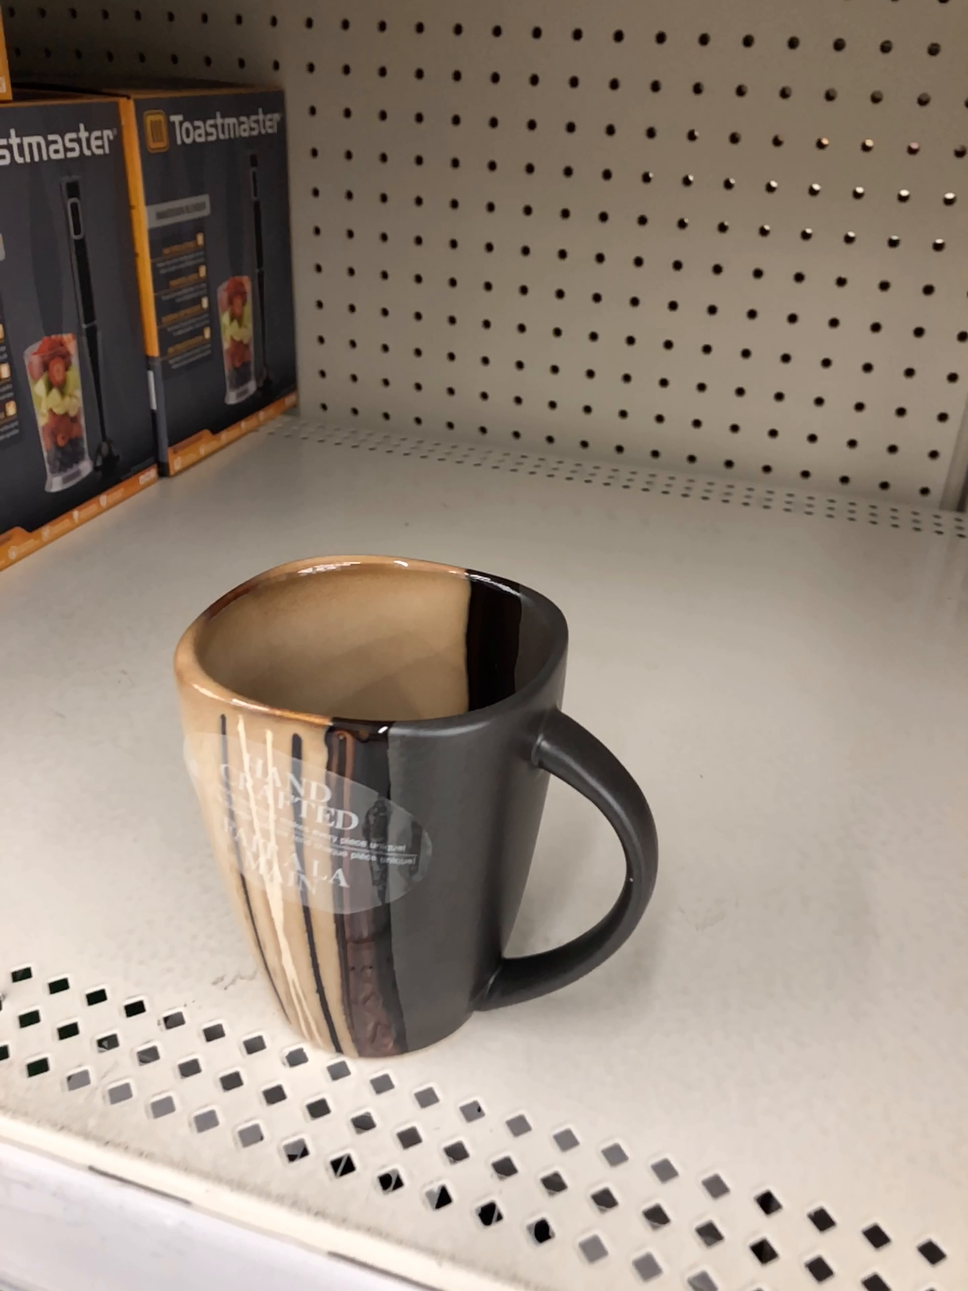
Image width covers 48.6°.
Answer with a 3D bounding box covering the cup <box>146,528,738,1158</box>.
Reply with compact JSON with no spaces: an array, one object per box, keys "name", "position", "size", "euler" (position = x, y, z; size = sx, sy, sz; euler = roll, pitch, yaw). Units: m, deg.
[{"name":"cup","position":[-0.006,0.045,0.283],"size":[0.120,0.110,0.087],"euler":[10,30,14]}]
